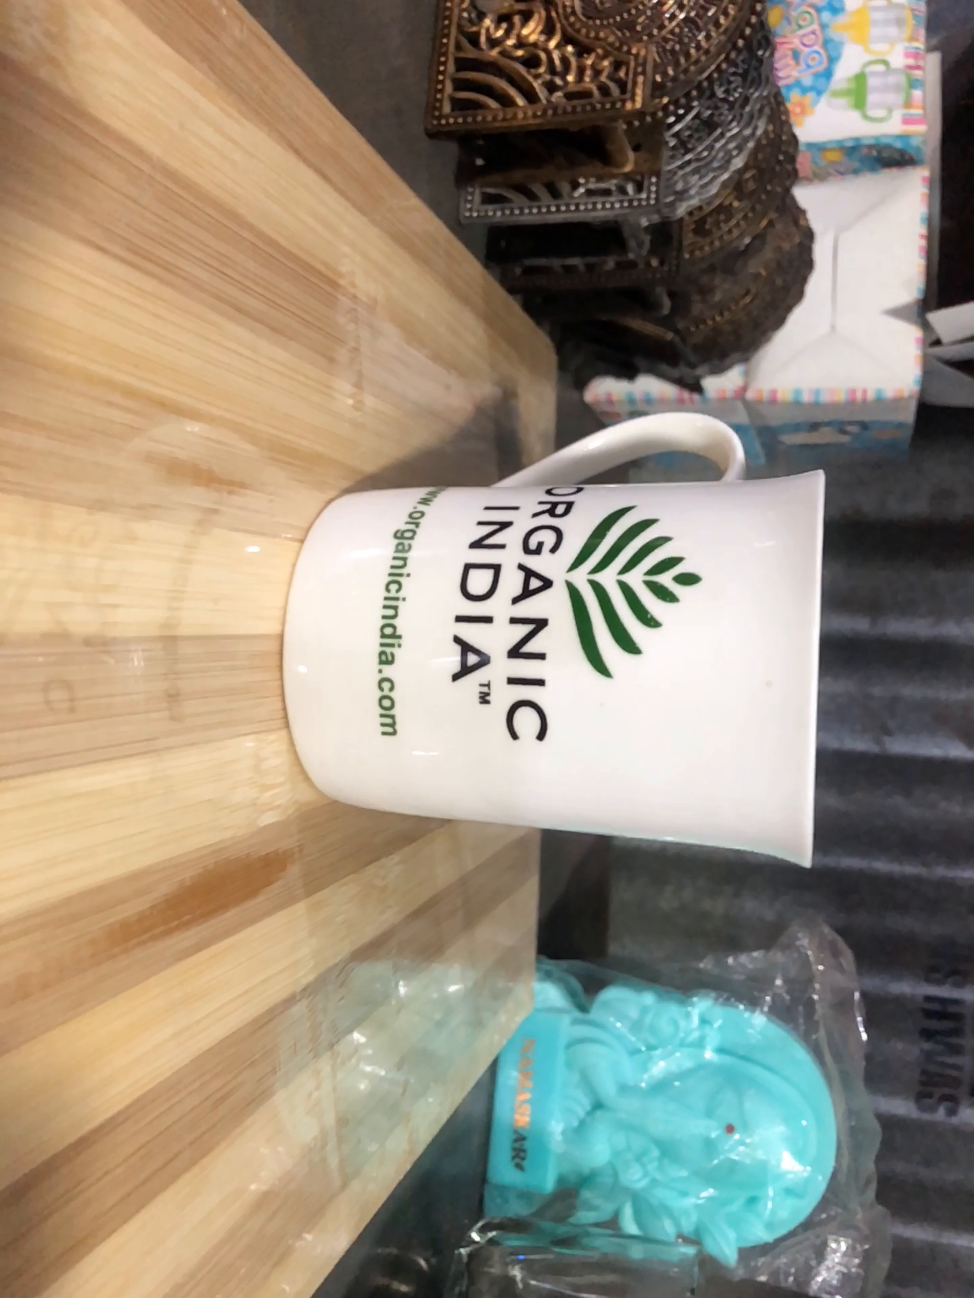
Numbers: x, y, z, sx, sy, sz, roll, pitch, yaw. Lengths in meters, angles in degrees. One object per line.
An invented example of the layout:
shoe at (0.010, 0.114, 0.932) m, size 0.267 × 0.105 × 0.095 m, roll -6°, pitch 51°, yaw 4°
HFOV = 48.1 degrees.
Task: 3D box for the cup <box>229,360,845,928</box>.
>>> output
cup at (0.020, -0.001, 0.246) m, size 0.070 × 0.109 × 0.100 m, roll 64°, pitch 32°, yaw -61°
